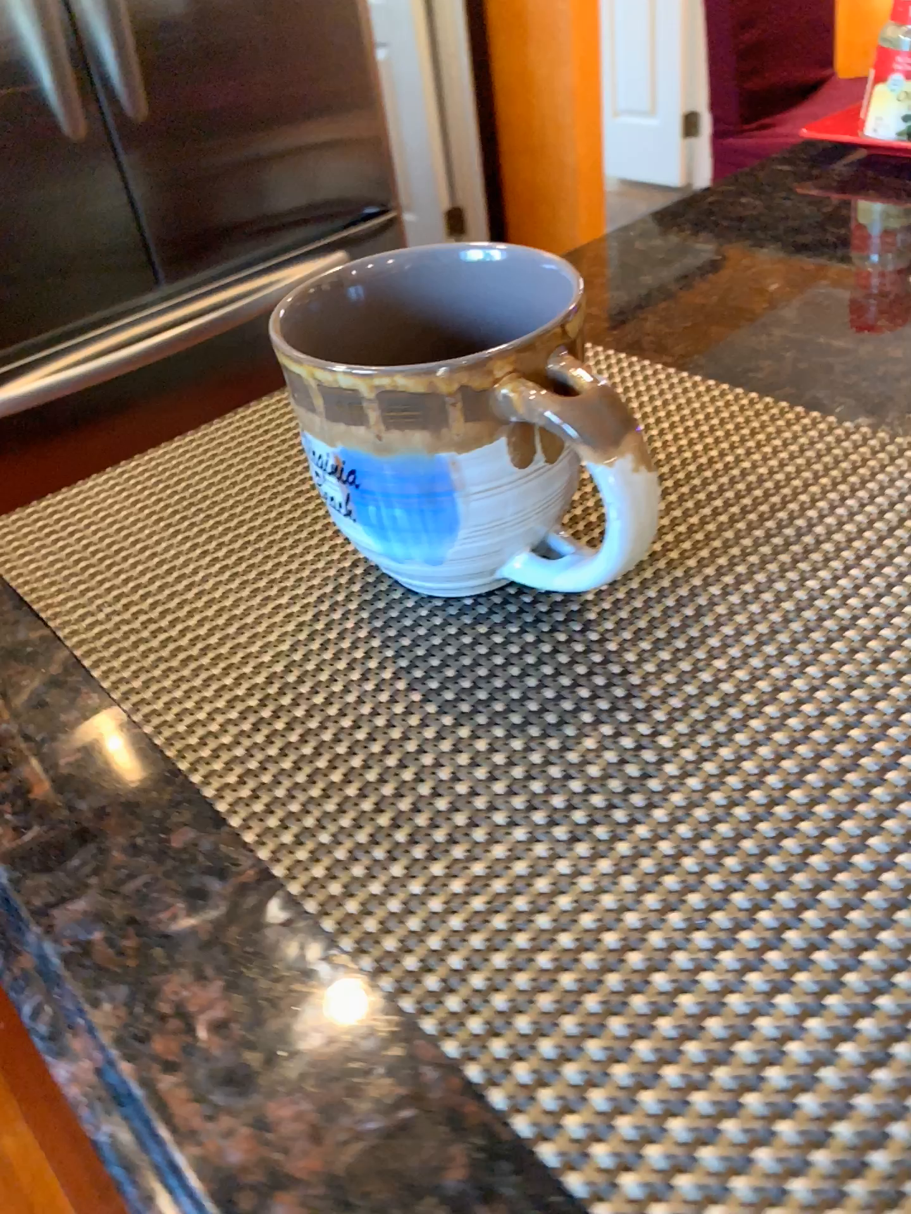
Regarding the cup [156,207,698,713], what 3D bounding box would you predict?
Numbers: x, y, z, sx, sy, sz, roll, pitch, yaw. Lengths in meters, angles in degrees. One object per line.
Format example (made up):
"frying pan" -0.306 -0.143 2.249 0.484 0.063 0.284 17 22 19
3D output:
"cup" -0.012 -0.061 0.315 0.100 0.089 0.151 -29 42 -23
